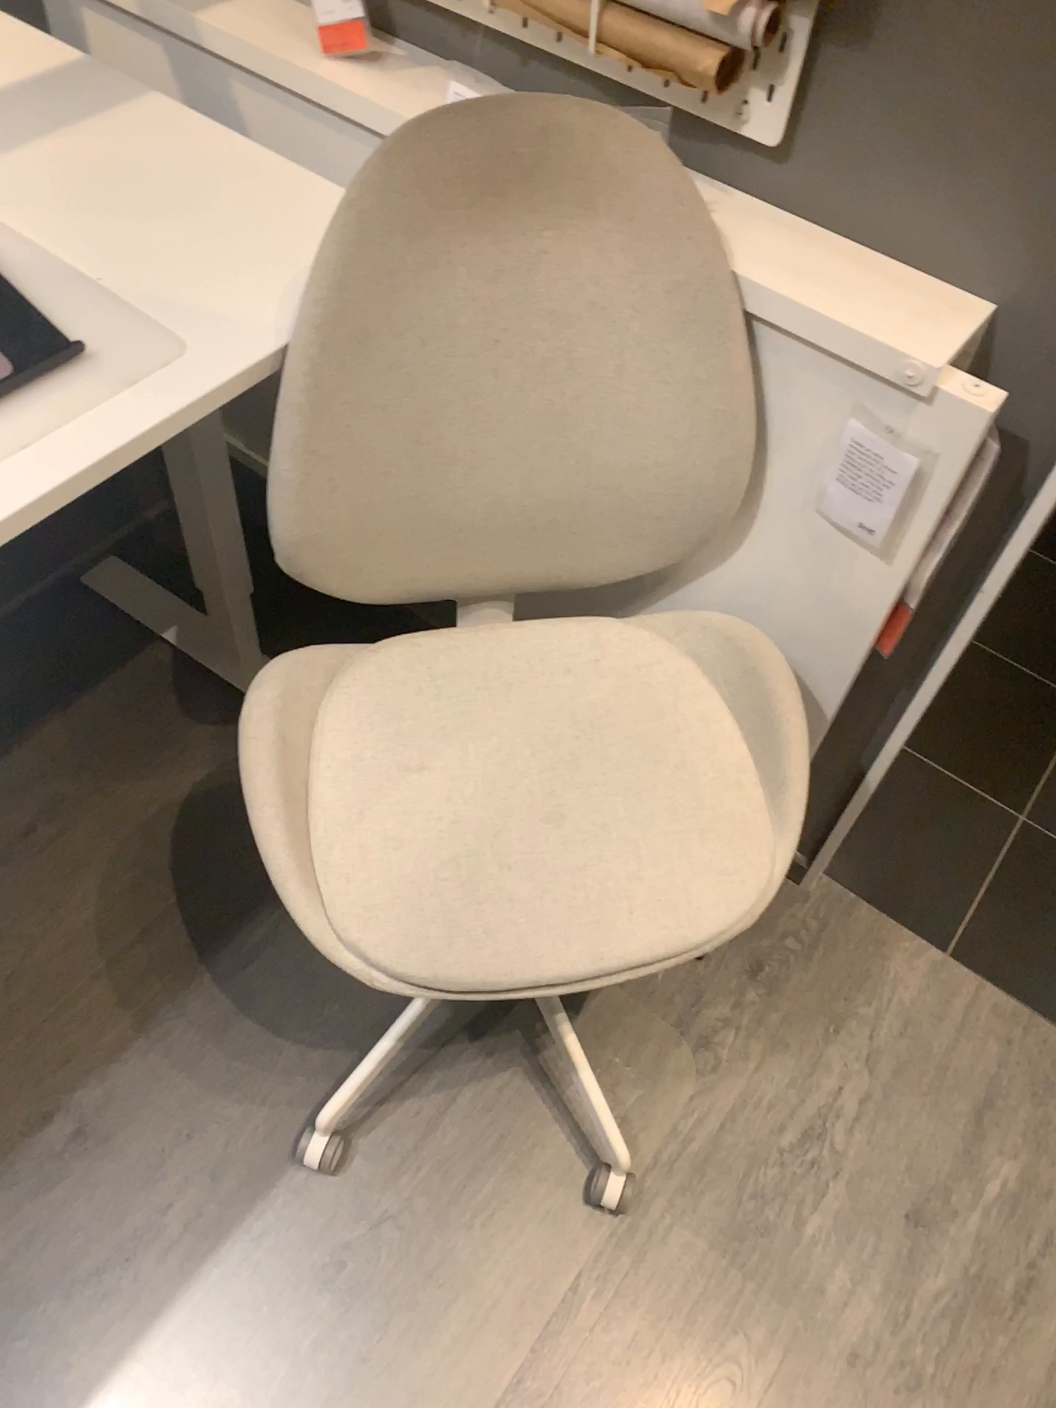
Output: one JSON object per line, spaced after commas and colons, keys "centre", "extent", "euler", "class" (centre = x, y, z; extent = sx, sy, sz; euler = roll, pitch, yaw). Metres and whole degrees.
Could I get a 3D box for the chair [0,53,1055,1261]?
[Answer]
{"centre": [0.009, 0.071, 0.961], "extent": [0.610, 0.938, 0.591], "euler": [0, 53, -6], "class": "chair"}
